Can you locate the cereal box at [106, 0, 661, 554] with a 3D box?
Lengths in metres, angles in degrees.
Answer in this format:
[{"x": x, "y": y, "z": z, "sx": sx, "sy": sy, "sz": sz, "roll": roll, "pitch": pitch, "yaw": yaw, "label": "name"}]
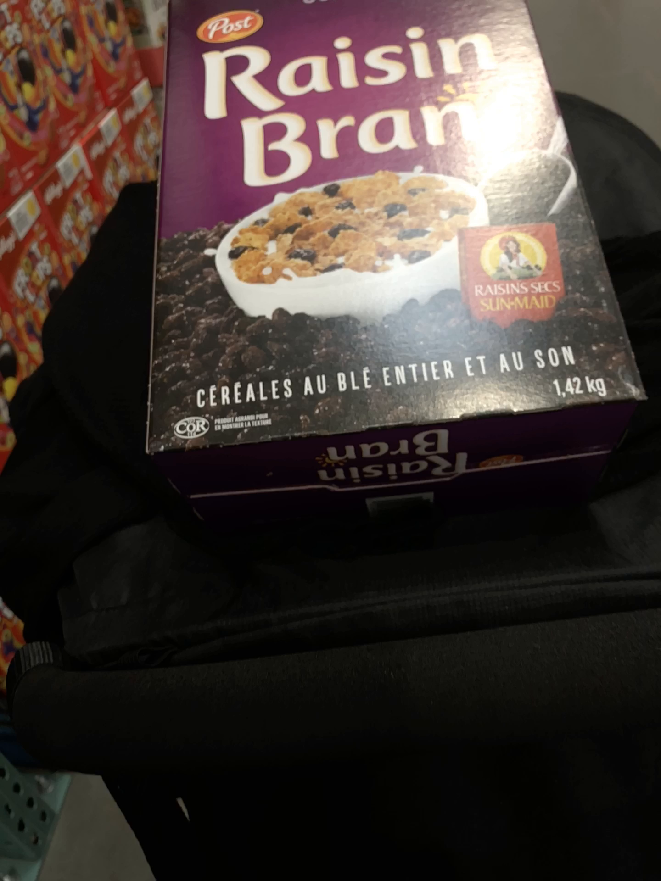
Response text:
[{"x": 0.015, "y": -0.107, "z": 0.387, "sx": 0.210, "sy": 0.110, "sz": 0.291, "roll": -7, "pitch": 64, "yaw": 5, "label": "cereal box"}]
